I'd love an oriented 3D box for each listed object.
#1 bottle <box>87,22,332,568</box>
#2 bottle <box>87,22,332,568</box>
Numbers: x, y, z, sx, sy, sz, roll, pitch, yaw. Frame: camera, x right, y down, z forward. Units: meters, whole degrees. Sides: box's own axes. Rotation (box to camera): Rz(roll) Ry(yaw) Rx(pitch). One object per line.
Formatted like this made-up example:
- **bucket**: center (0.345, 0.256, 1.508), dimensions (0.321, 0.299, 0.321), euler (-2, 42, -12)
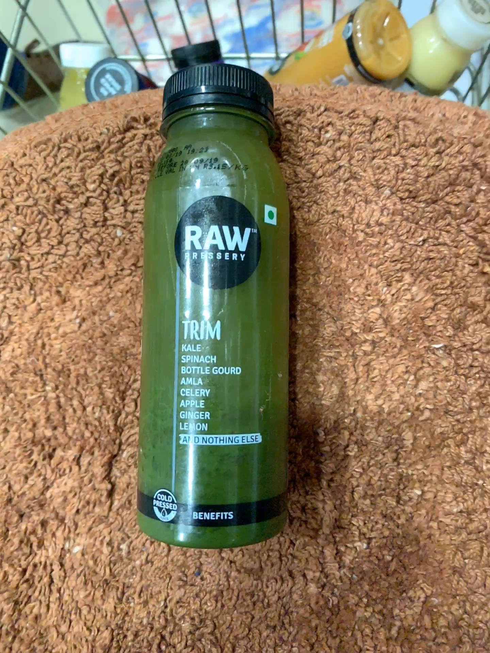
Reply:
- **bottle**: center (-0.008, -0.010, 0.166), dimensions (0.060, 0.050, 0.150), euler (3, 84, -1)
- **bottle**: center (-0.008, -0.010, 0.166), dimensions (0.060, 0.050, 0.150), euler (3, 84, -1)
